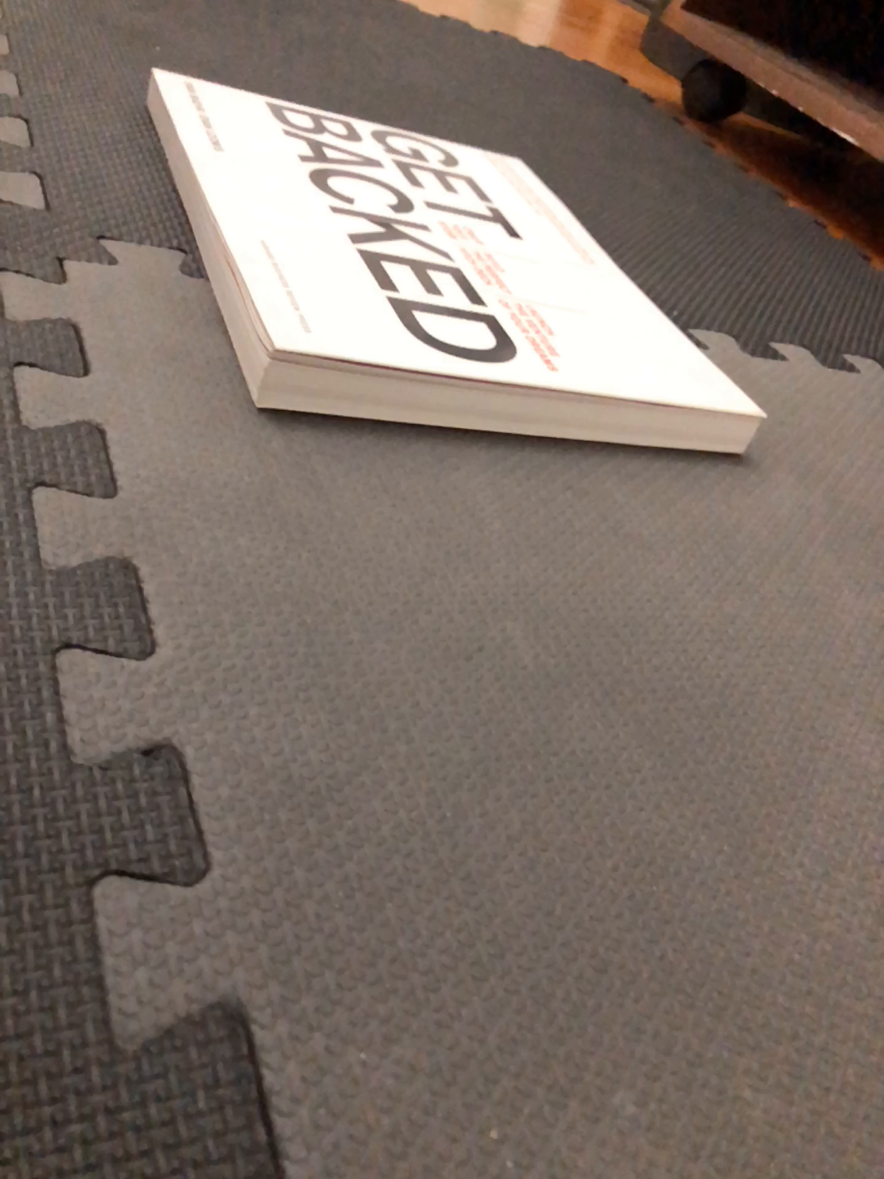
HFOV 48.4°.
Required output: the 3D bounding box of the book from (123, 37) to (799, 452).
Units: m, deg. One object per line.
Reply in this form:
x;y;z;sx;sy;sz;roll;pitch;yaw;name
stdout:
-0.007;-0.149;0.407;0.210;0.020;0.261;1;43;-27;book
